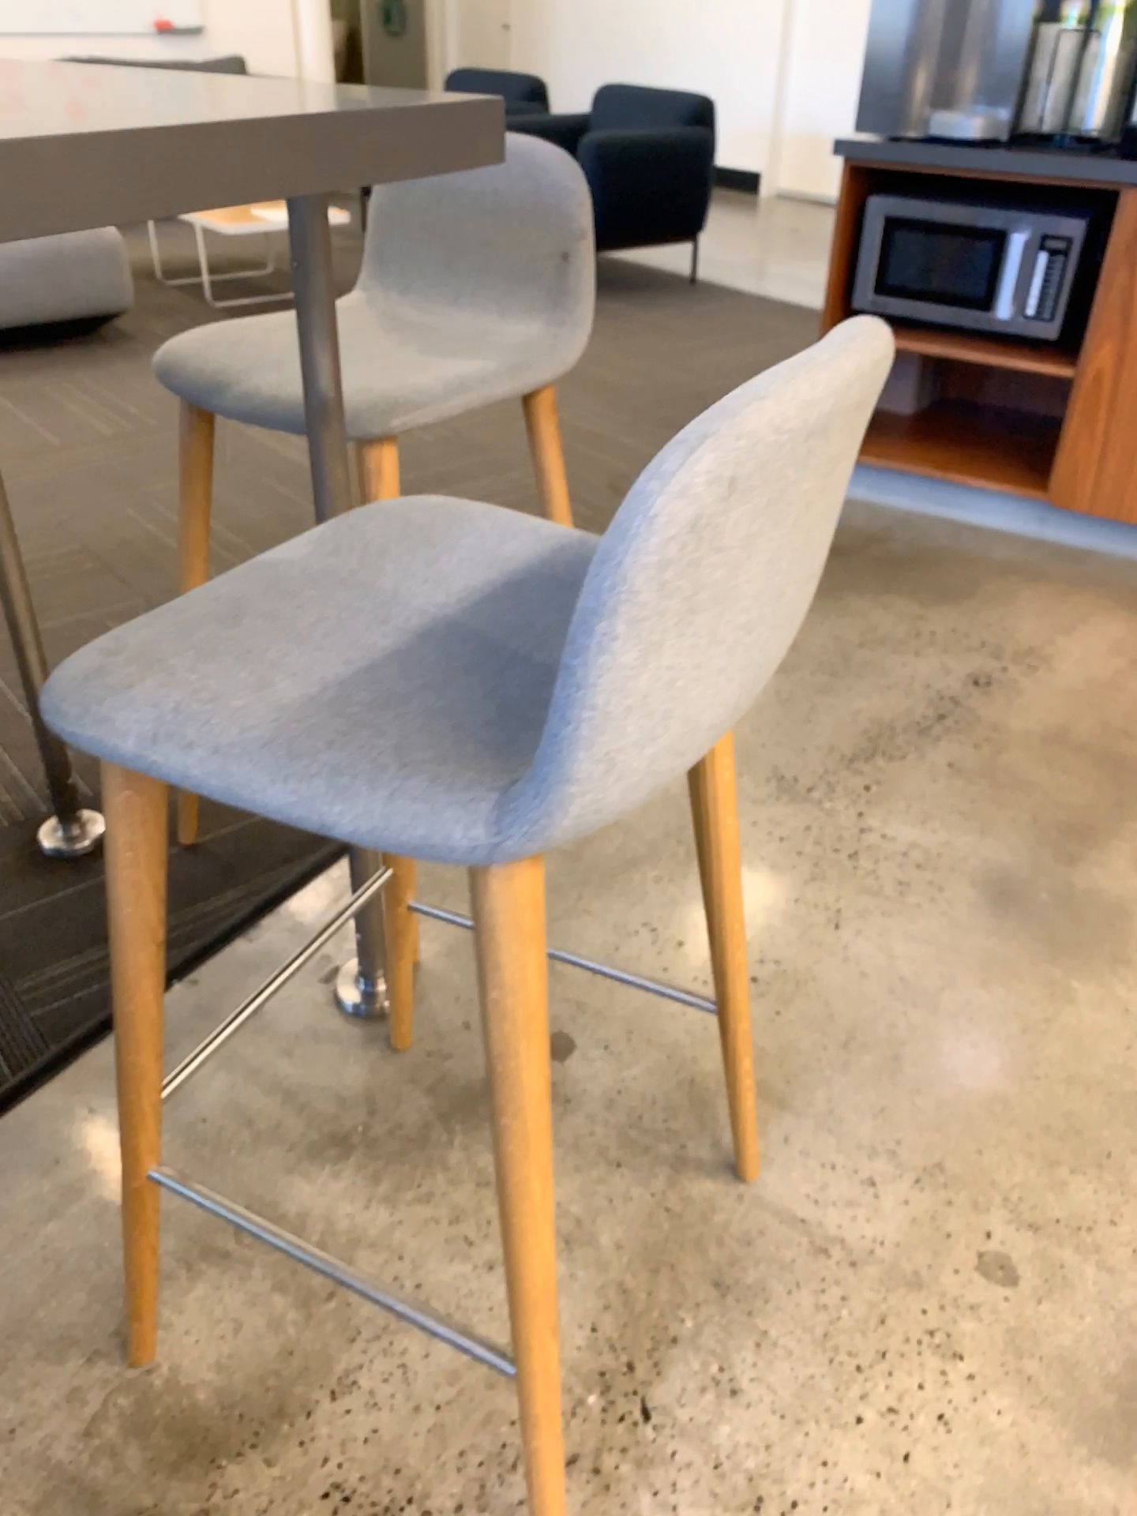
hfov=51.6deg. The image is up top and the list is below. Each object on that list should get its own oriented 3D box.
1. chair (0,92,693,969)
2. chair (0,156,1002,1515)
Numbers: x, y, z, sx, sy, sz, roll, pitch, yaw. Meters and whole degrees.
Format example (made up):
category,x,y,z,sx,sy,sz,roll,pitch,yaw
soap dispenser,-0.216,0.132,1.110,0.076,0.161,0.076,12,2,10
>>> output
category,x,y,z,sx,sy,sz,roll,pitch,yaw
chair,-0.309,-0.362,1.672,0.712,0.964,0.542,23,38,29
chair,-0.081,0.085,0.977,0.541,0.964,0.592,17,36,22
